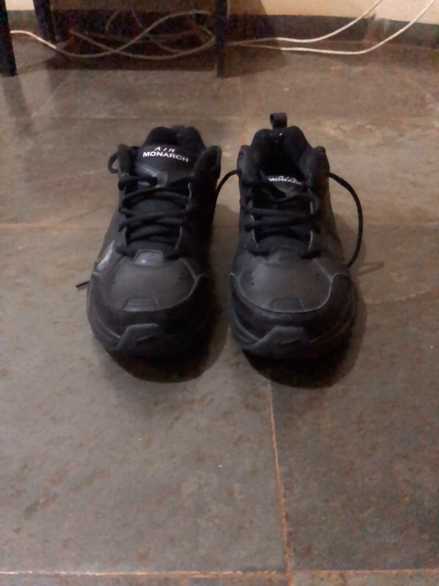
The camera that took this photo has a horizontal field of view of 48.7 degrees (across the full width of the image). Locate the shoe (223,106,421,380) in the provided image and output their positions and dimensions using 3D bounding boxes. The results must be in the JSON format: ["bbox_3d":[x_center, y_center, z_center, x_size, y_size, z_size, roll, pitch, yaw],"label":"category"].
[{"bbox_3d":[0.067,-0.071,0.453,0.120,0.109,0.302,1,37,1],"label":"shoe"}]

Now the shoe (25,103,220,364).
[{"bbox_3d":[-0.061,-0.076,0.447,0.120,0.109,0.282,1,37,0],"label":"shoe"}]
